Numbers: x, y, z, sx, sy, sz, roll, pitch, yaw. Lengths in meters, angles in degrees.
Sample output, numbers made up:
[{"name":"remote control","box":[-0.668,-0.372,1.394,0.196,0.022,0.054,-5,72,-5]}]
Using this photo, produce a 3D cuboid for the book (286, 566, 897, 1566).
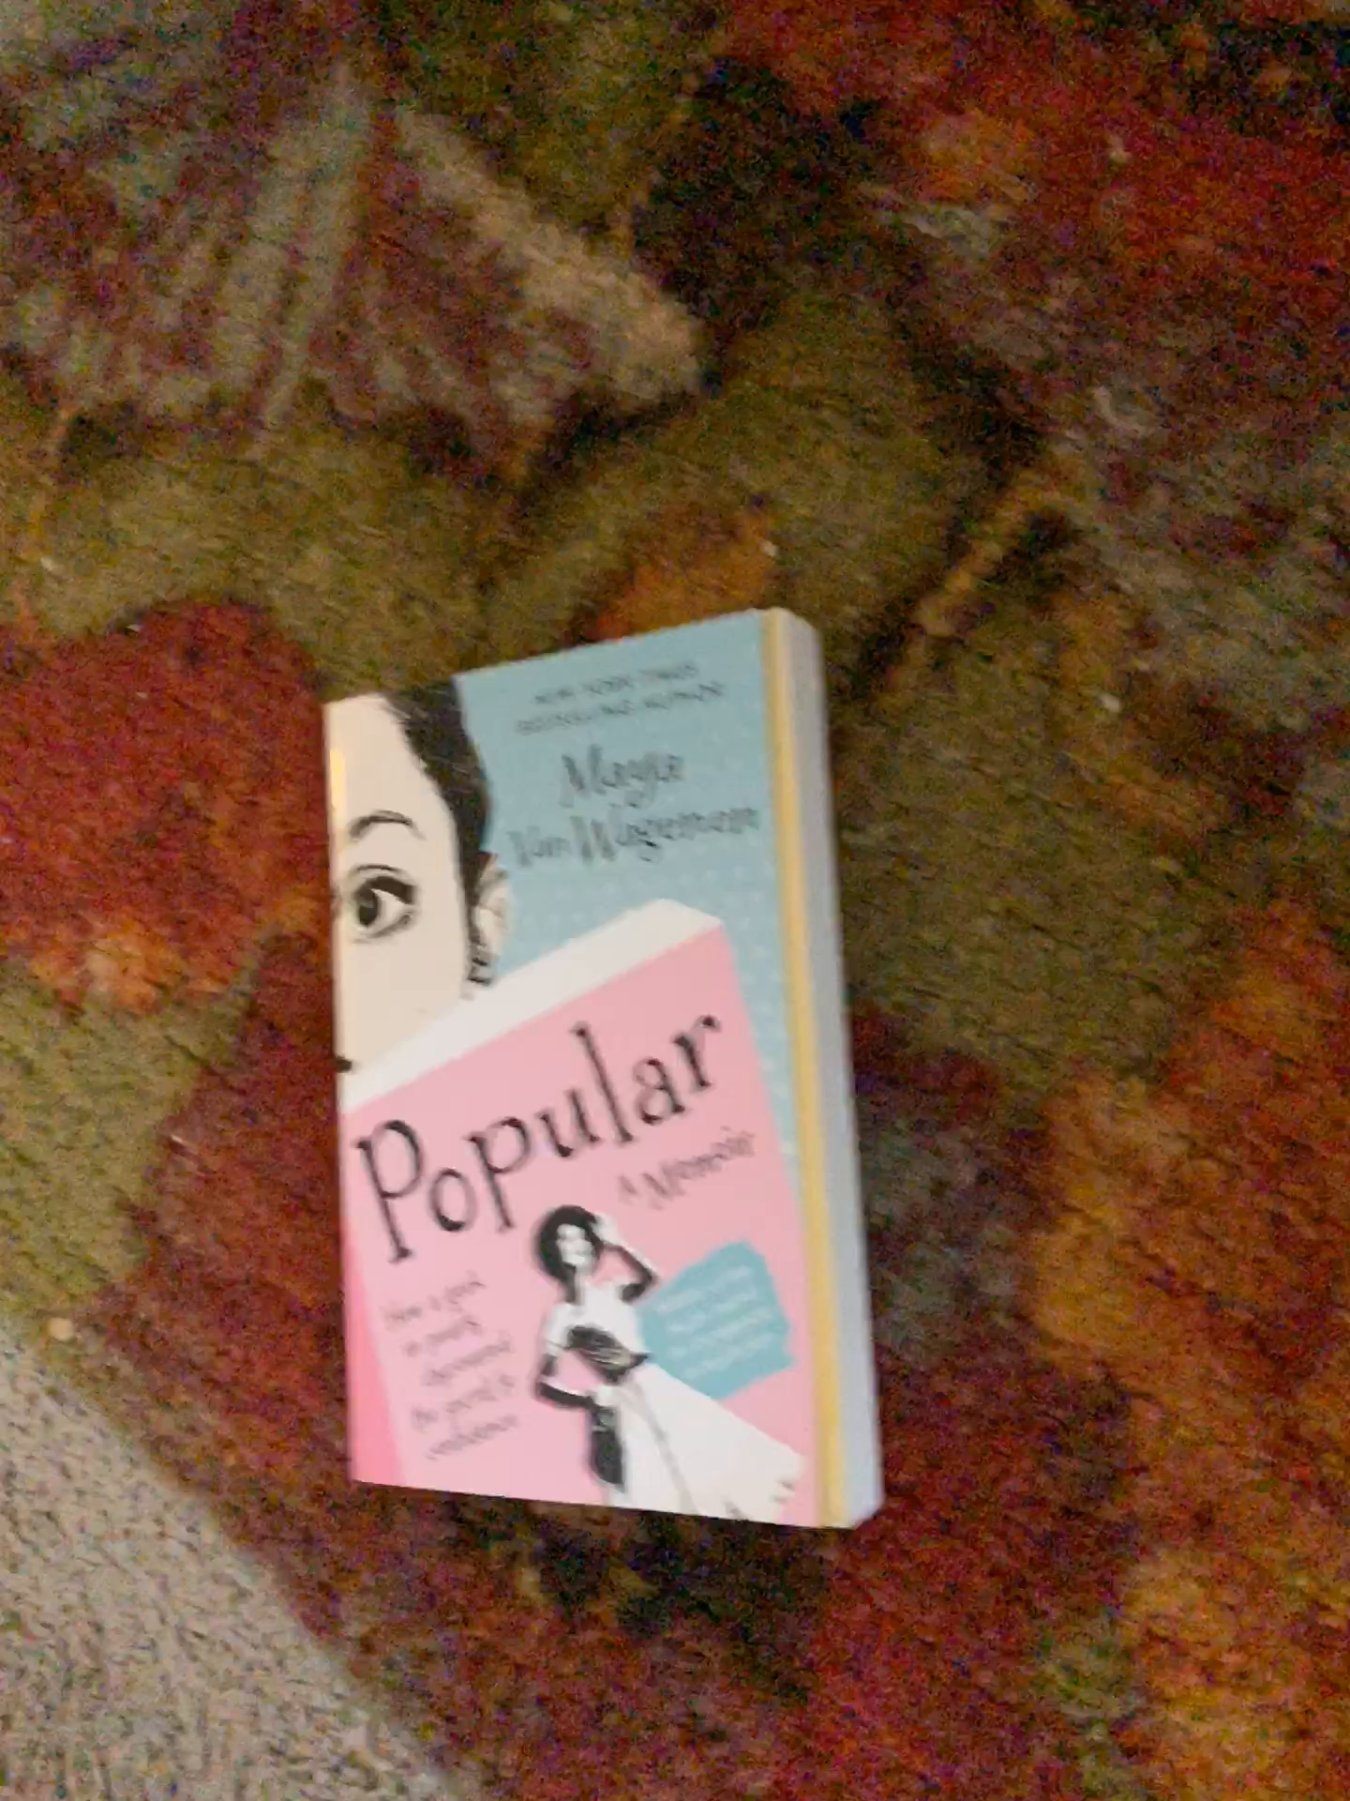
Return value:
[{"name":"book","box":[-0.029,0.041,0.355,0.150,0.030,0.220,-7,81,27]}]
